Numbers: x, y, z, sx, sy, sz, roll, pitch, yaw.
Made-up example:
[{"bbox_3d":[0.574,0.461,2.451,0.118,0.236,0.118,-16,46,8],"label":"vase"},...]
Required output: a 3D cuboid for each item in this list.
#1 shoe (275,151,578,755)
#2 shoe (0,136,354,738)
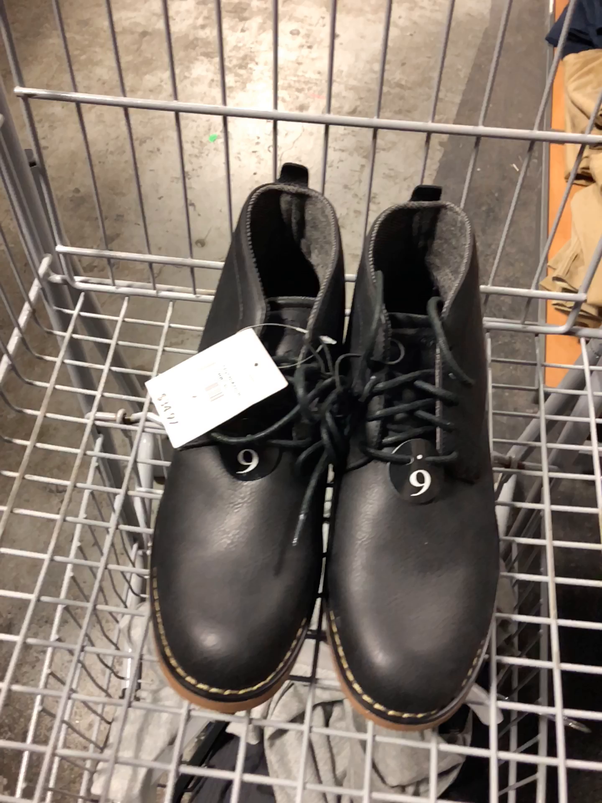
[{"bbox_3d":[0.056,0.034,0.375,0.100,0.199,0.272,6,58,3],"label":"shoe"},{"bbox_3d":[-0.039,0.026,0.368,0.100,0.199,0.262,6,58,3],"label":"shoe"}]
